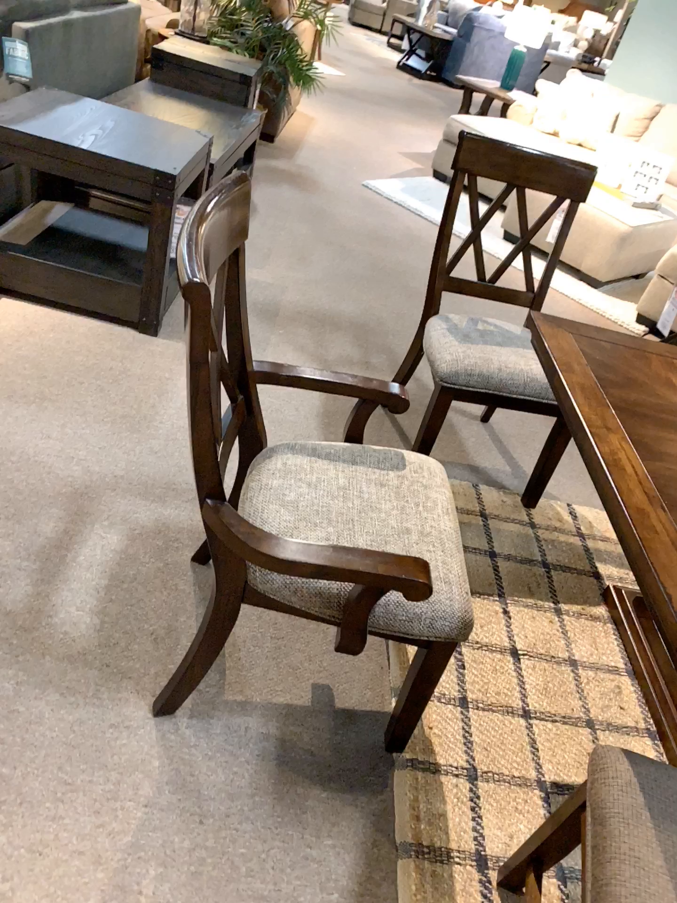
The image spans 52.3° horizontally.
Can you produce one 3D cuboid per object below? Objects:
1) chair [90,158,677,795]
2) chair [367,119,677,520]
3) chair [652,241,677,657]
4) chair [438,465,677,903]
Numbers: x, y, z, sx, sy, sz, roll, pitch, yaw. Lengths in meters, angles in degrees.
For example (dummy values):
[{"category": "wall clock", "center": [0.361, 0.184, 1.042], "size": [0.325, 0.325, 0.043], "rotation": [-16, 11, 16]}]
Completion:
[{"category": "chair", "center": [-0.013, 0.079, 1.260], "size": [0.654, 0.896, 0.548], "rotation": [13, 36, -6]}, {"category": "chair", "center": [0.495, -0.380, 2.081], "size": [0.505, 0.916, 0.647], "rotation": [9, 36, -13]}, {"category": "chair", "center": [1.453, 0.001, 1.988], "size": [0.465, 0.916, 0.647], "rotation": [13, 36, -6]}, {"category": "chair", "center": [0.541, 0.636, 0.720], "size": [0.505, 0.936, 0.647], "rotation": [20, 35, 4]}]
